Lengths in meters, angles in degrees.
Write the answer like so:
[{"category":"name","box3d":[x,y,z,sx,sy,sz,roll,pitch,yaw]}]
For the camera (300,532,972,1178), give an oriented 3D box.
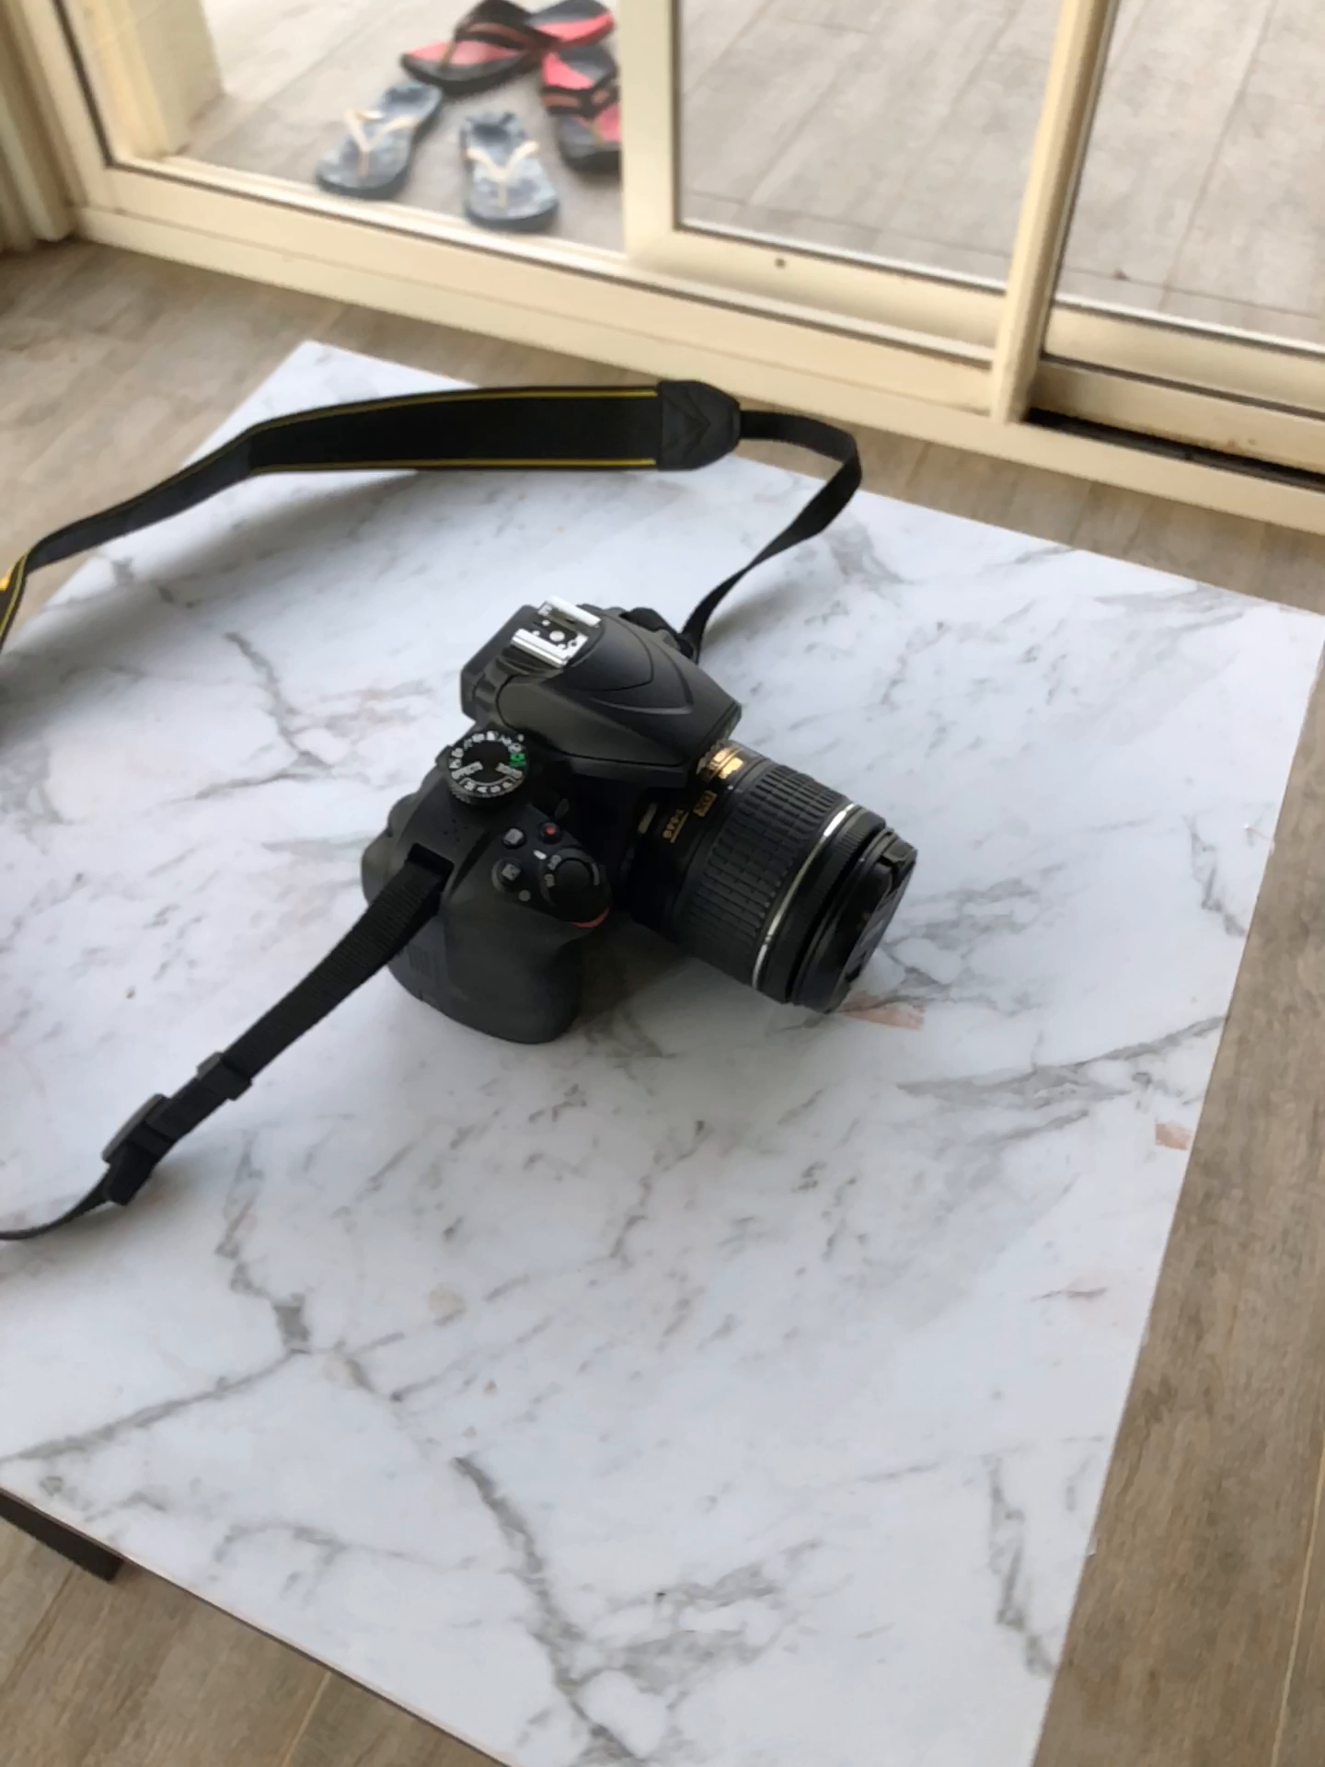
[{"category":"camera","box3d":[-0.005,-0.012,0.425,0.138,0.076,0.122,27,59,16]}]
